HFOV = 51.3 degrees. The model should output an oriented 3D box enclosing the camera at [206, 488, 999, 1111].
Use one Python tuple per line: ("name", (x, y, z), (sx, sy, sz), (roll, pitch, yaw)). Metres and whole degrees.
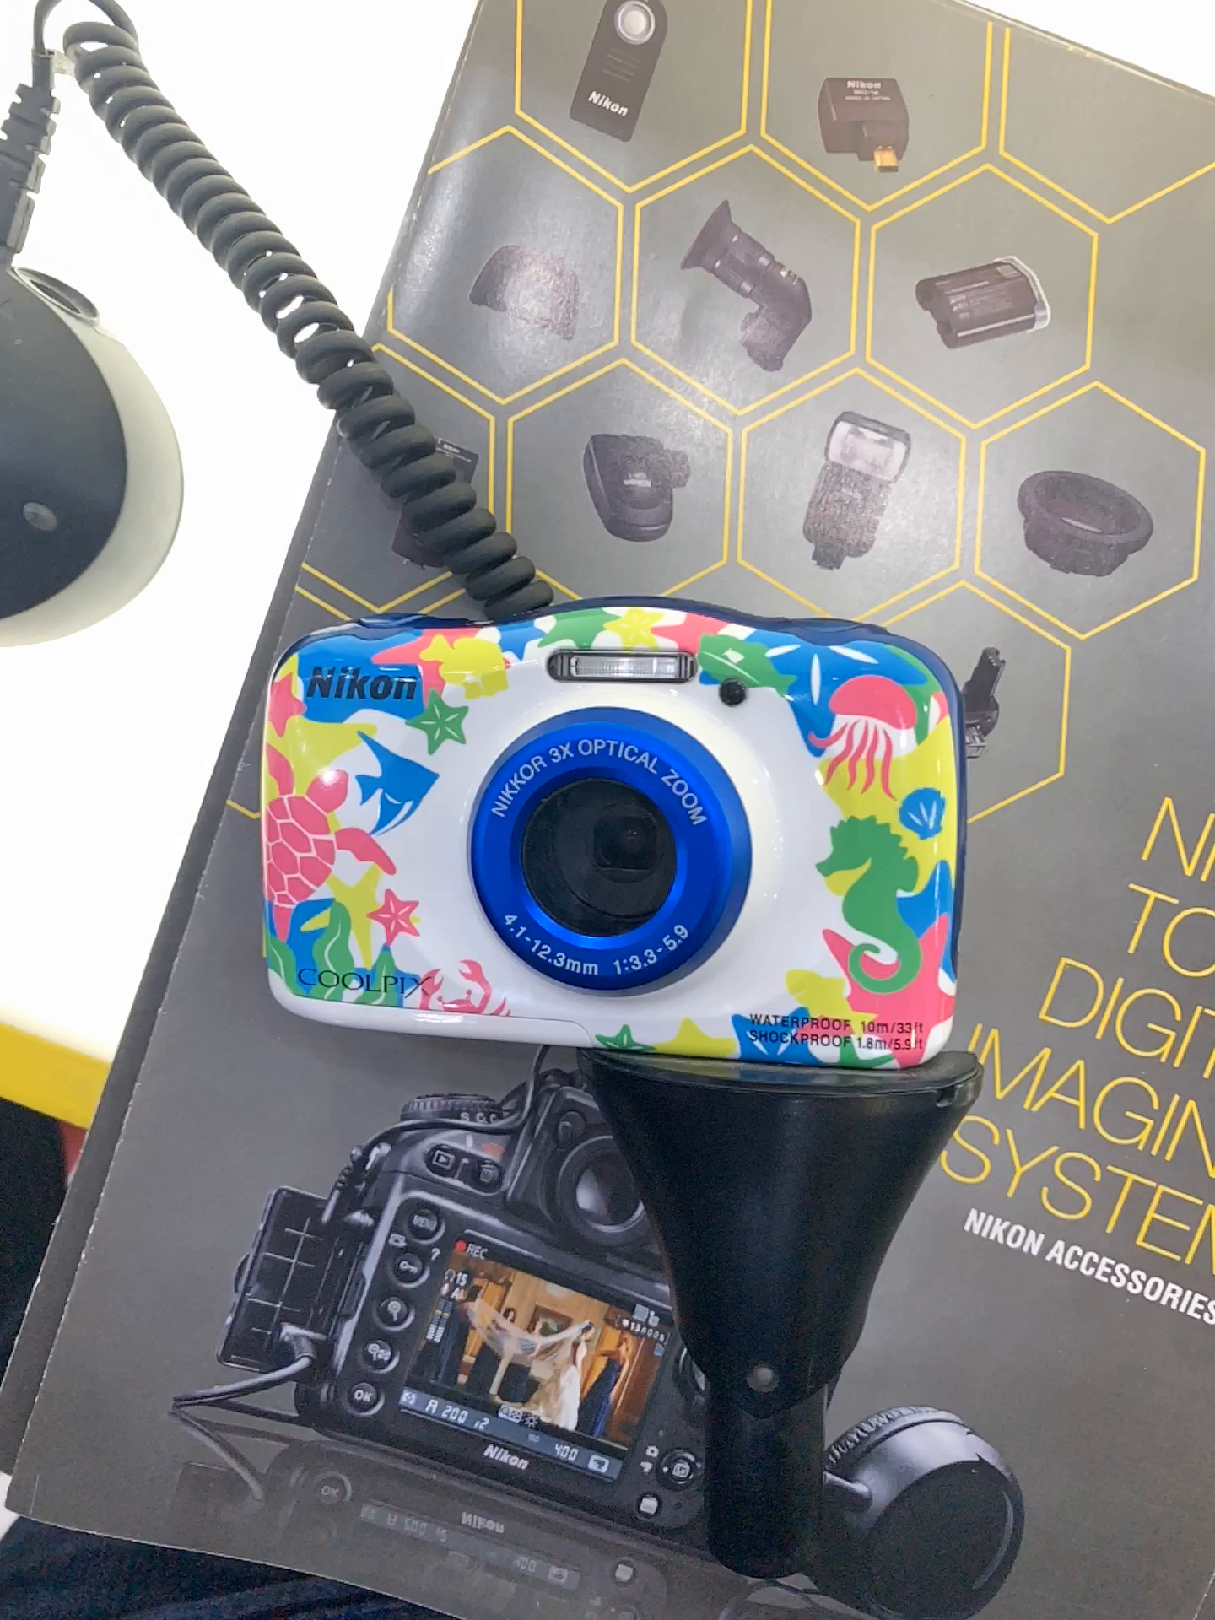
("camera", (-0.001, -0.003, 0.189), (0.110, 0.030, 0.080), (1, 91, 12))
